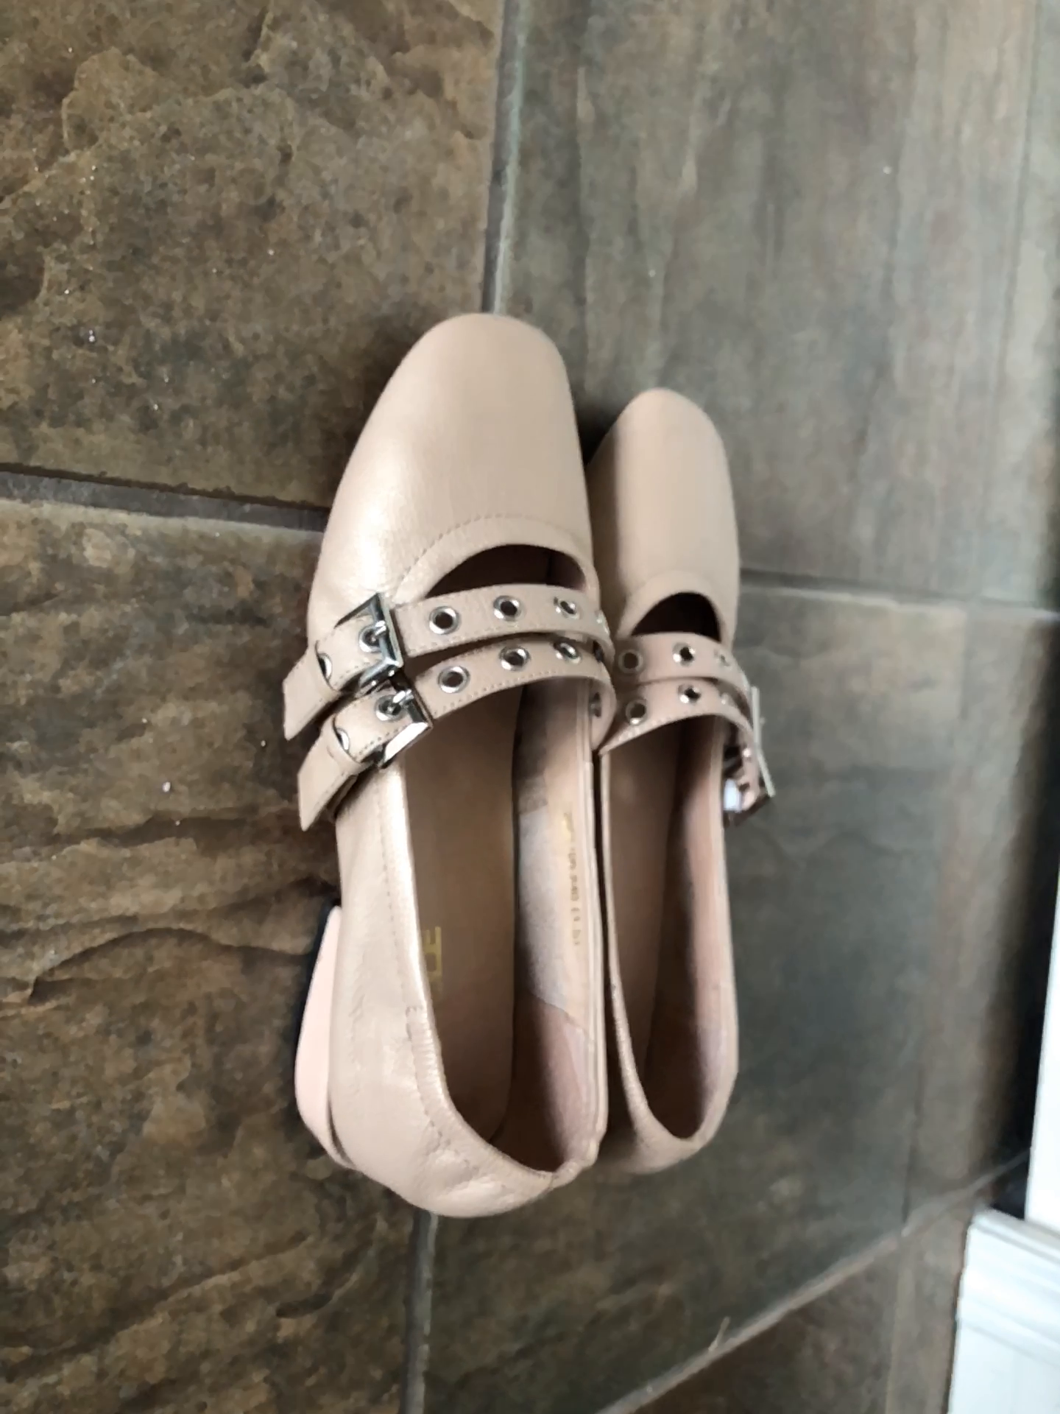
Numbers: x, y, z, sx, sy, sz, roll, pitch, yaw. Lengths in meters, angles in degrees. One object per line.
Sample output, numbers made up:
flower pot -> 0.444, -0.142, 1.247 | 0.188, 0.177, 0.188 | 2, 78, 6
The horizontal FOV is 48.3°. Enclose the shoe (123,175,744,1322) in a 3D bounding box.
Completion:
shoe -> -0.027, 0.009, 0.322 | 0.100, 0.090, 0.250 | 7, 92, -44

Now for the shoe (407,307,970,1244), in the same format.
shoe -> 0.051, 0.019, 0.372 | 0.090, 0.090, 0.250 | 15, 87, -44
